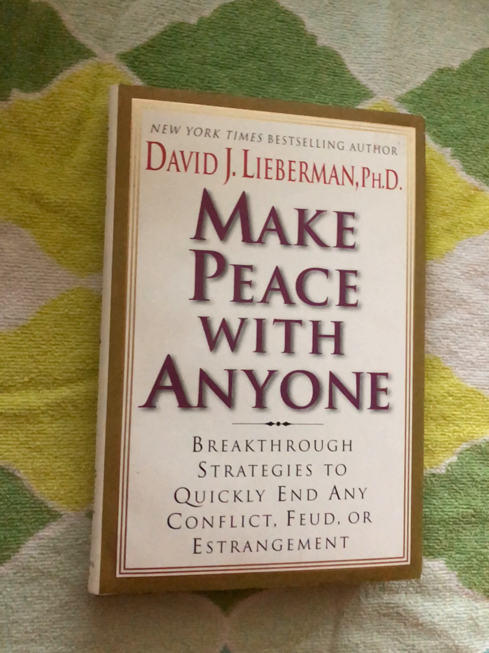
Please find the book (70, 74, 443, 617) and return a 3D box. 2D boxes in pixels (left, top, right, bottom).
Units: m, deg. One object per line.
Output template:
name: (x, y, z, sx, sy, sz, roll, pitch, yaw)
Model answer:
book: (0.008, 0.006, 0.230, 0.145, 0.030, 0.204, 2, 85, -10)
